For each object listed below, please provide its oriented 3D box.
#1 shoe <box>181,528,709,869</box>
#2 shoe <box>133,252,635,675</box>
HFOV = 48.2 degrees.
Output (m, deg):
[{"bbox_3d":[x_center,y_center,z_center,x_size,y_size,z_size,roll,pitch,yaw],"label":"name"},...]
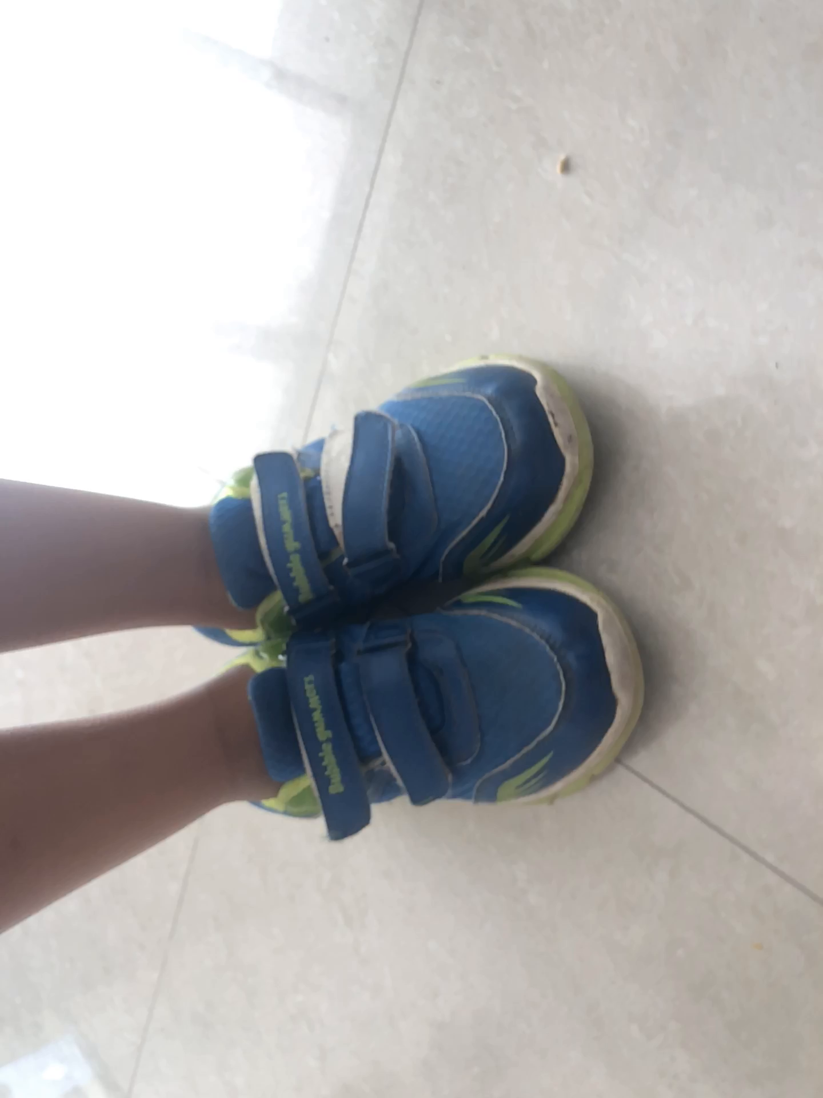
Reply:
[{"bbox_3d":[-0.003,0.070,0.384,0.221,0.060,0.090,-24,76,41],"label":"shoe"},{"bbox_3d":[-0.028,-0.021,0.390,0.221,0.060,0.090,-25,75,40],"label":"shoe"}]
